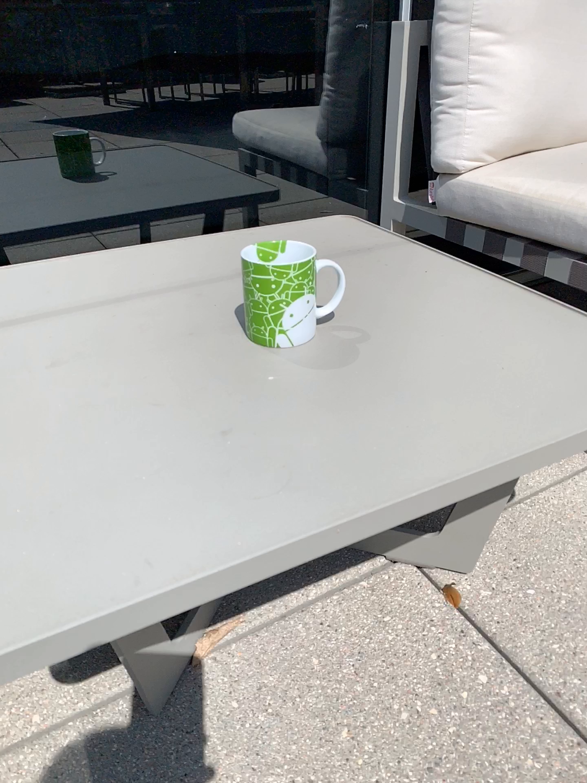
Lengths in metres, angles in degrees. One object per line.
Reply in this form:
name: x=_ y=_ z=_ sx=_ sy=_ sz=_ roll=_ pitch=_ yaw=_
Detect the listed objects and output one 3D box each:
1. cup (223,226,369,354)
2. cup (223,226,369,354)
cup: x=0.003 y=-0.113 z=0.646 sx=0.130 sy=0.090 sz=0.080 roll=-20 pitch=36 yaw=-27
cup: x=0.003 y=-0.113 z=0.646 sx=0.130 sy=0.090 sz=0.080 roll=-20 pitch=36 yaw=-27
